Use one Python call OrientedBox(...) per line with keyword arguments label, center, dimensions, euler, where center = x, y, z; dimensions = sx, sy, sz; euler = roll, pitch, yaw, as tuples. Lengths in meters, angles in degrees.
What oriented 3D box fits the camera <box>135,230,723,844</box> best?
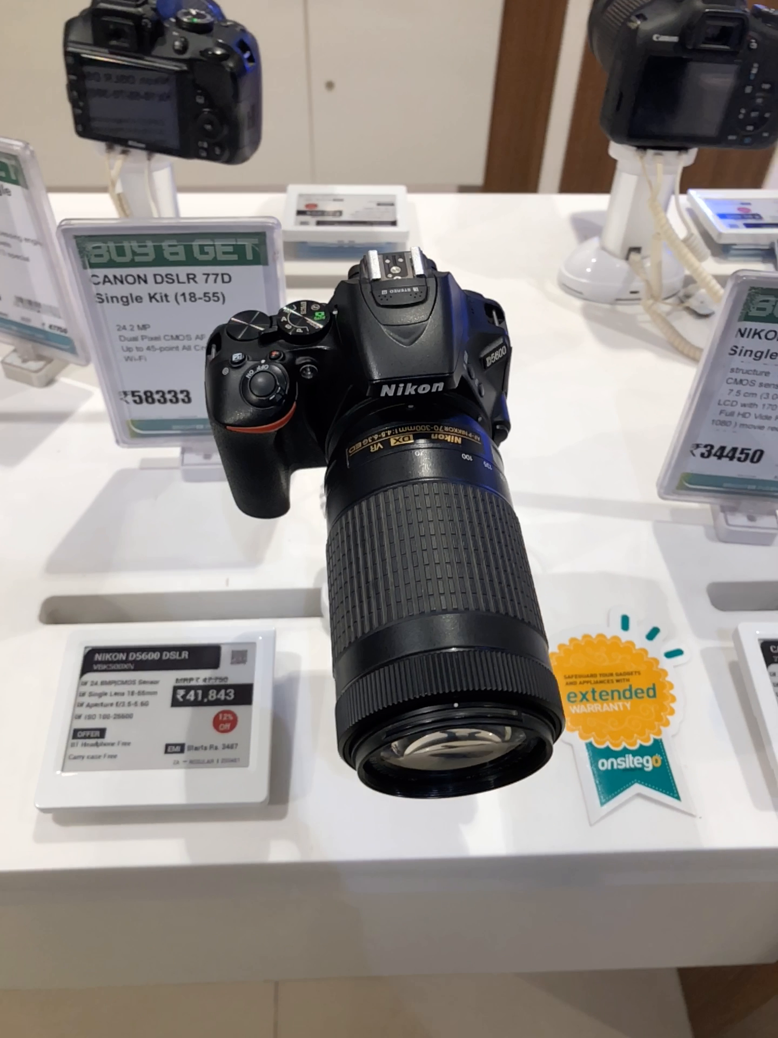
OrientedBox(label="camera", center=(0.002, -0.008, 0.305), dimensions=(0.140, 0.089, 0.201), euler=(-3, 48, -4))
